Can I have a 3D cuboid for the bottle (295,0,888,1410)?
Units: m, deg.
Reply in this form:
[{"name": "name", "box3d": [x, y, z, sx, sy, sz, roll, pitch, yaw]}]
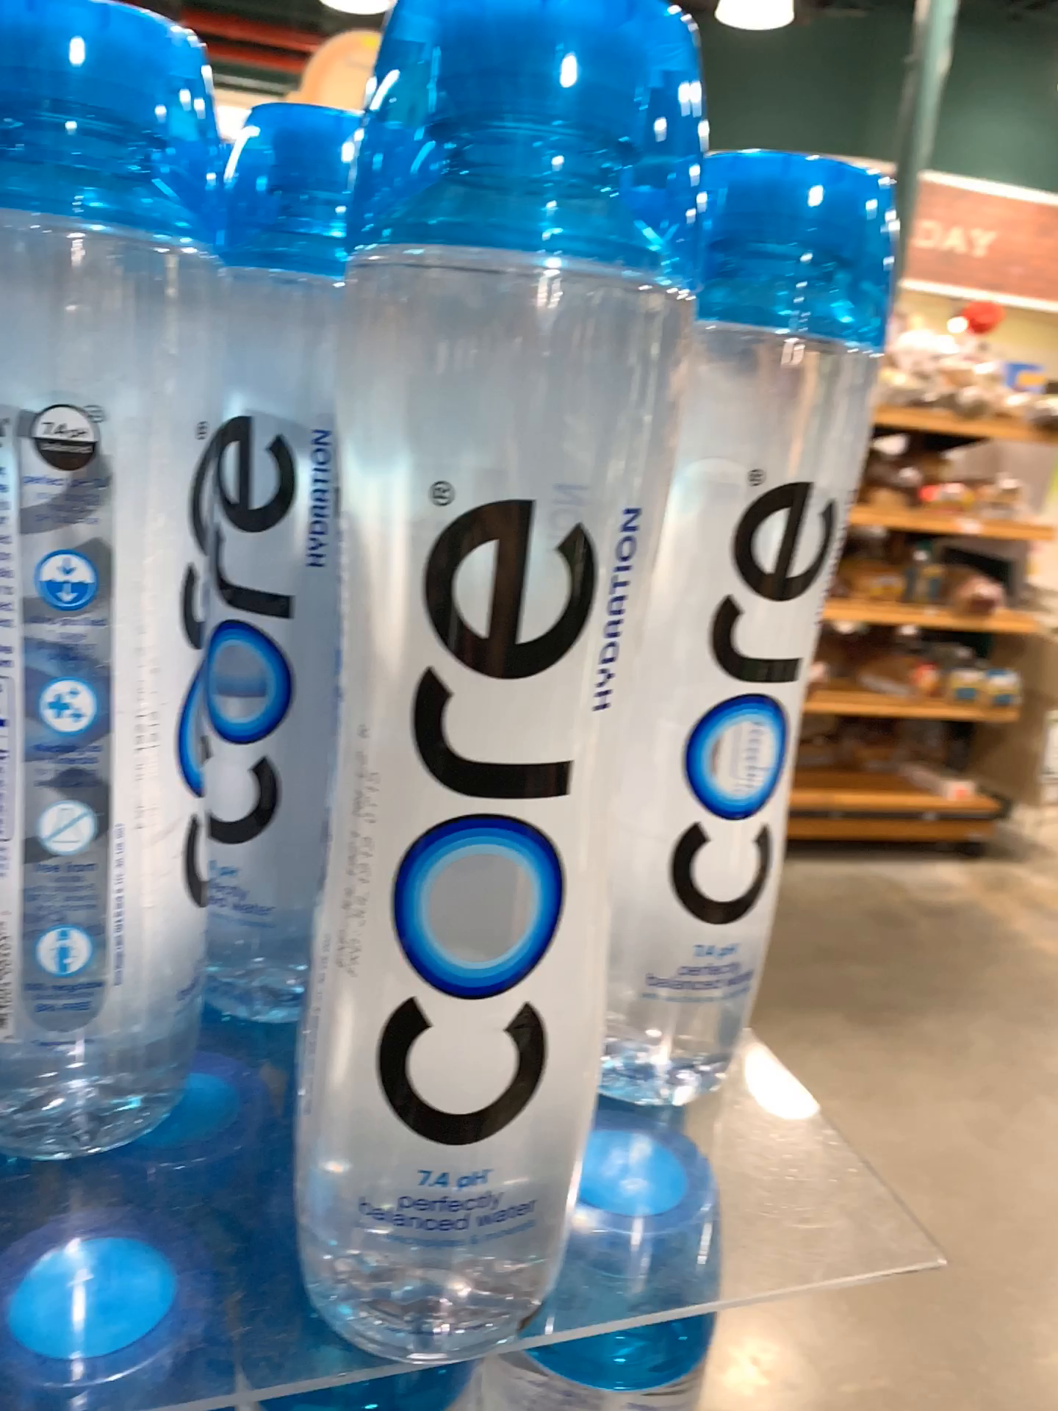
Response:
[{"name": "bottle", "box3d": [-0.004, 0.005, 0.253, 0.080, 0.289, 0.090, 4, 15, -12]}]
